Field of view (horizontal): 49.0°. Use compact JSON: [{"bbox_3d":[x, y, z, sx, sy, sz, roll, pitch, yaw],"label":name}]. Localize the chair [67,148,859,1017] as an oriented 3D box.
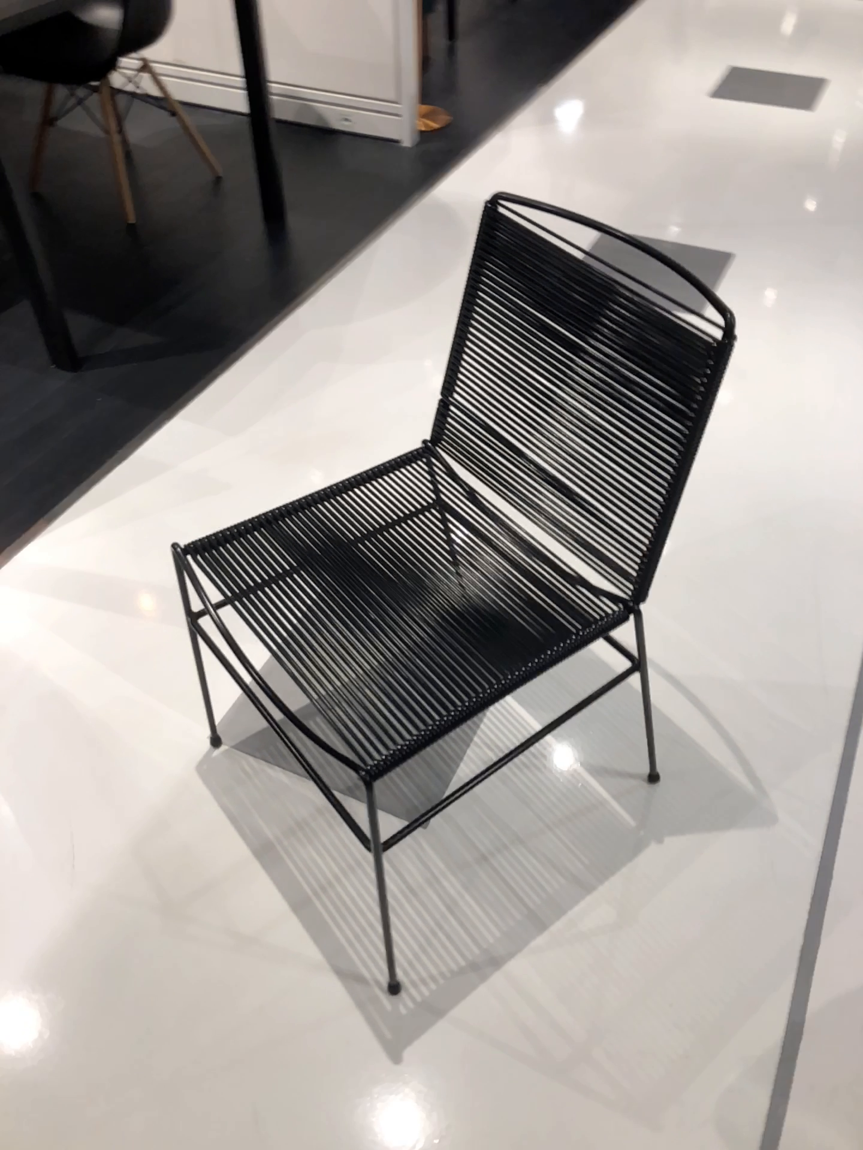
[{"bbox_3d":[0.025,0.011,1.207,0.582,0.794,0.522,-28,51,-25],"label":"chair"}]
